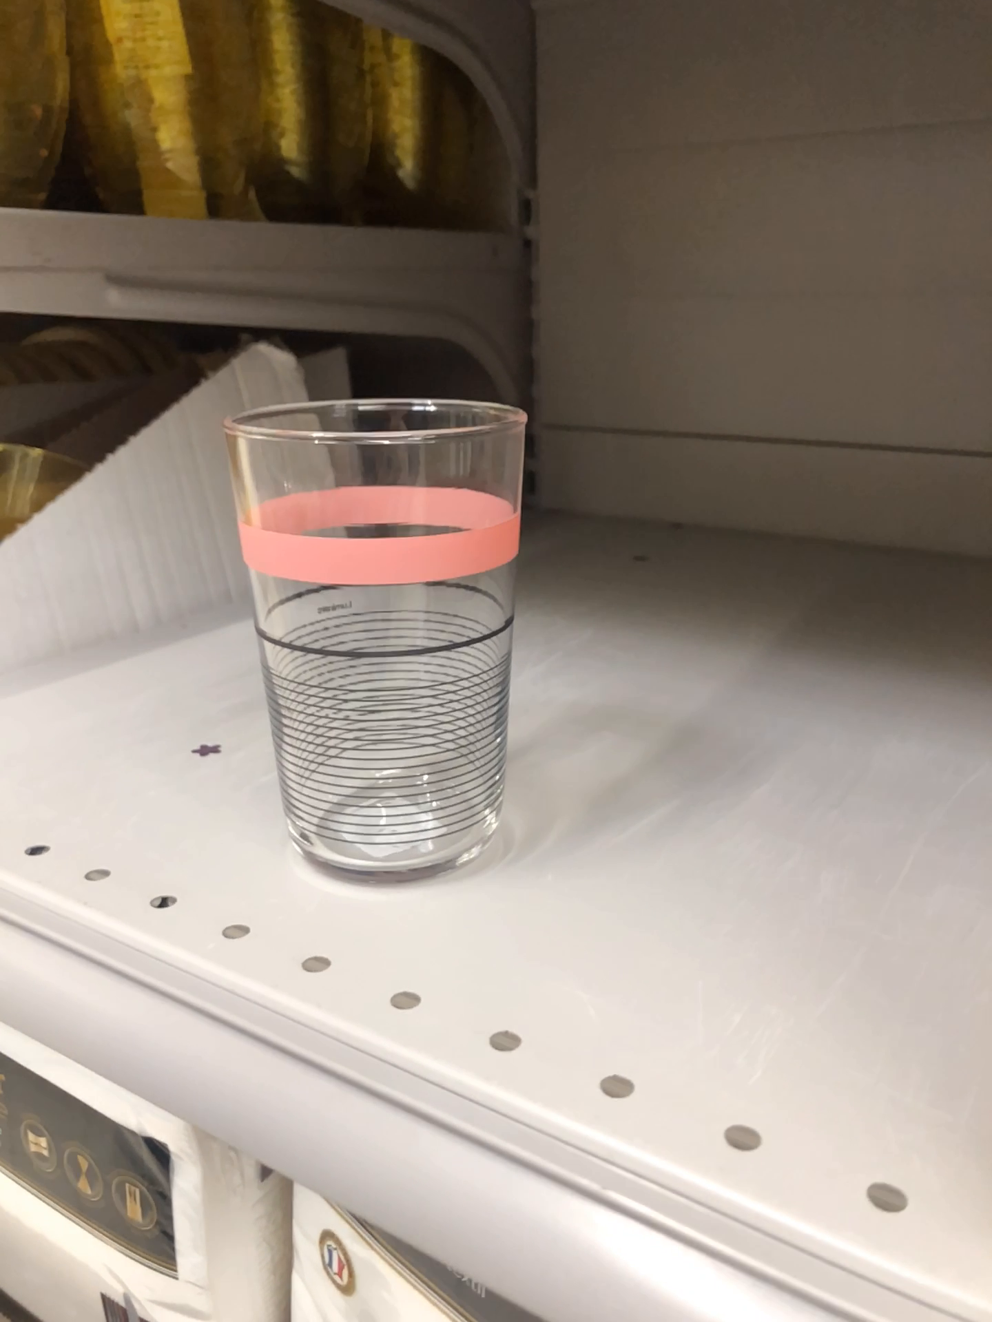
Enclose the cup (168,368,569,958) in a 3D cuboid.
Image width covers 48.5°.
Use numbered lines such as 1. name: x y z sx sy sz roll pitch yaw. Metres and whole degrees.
1. cup: -0.031 -0.006 0.279 0.064 0.123 0.073 -15 23 -30
